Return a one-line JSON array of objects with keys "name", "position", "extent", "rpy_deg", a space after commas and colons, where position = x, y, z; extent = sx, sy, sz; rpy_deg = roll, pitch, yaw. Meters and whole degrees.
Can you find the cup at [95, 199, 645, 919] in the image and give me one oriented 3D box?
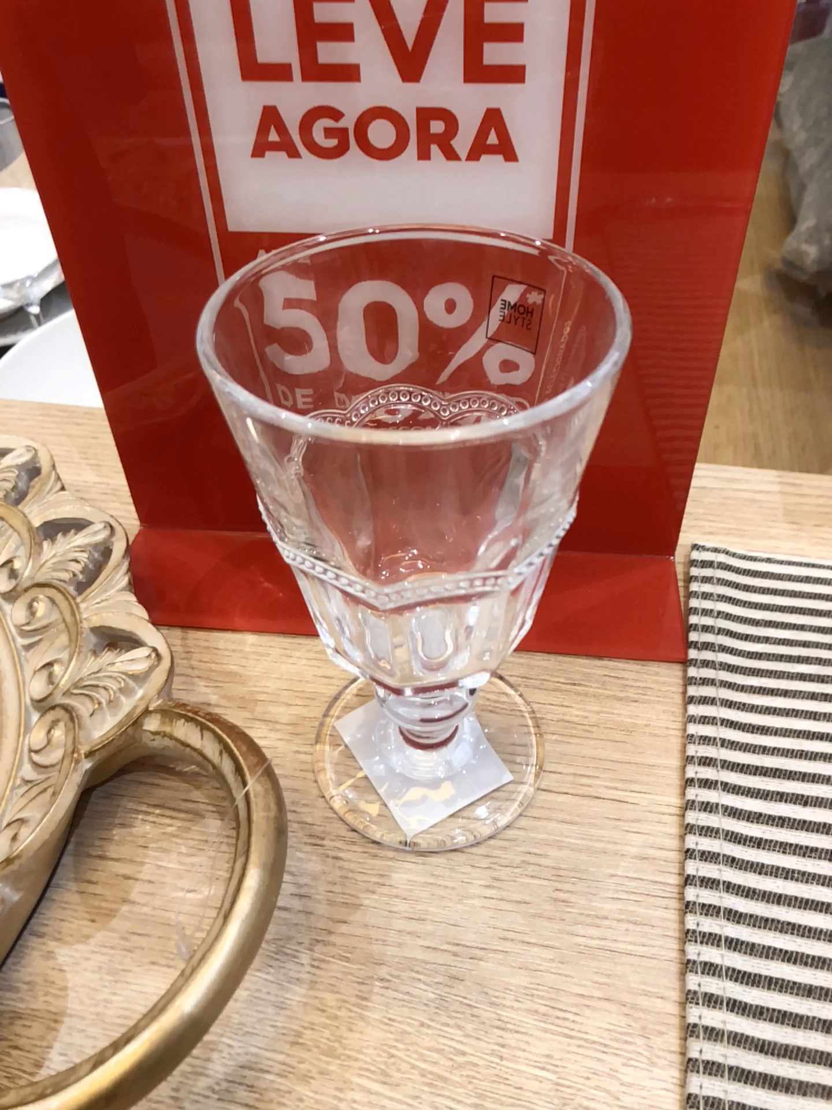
[{"name": "cup", "position": [0.000, 0.005, 0.215], "extent": [0.080, 0.139, 0.081], "rpy_deg": [-2, 43, 1]}]
